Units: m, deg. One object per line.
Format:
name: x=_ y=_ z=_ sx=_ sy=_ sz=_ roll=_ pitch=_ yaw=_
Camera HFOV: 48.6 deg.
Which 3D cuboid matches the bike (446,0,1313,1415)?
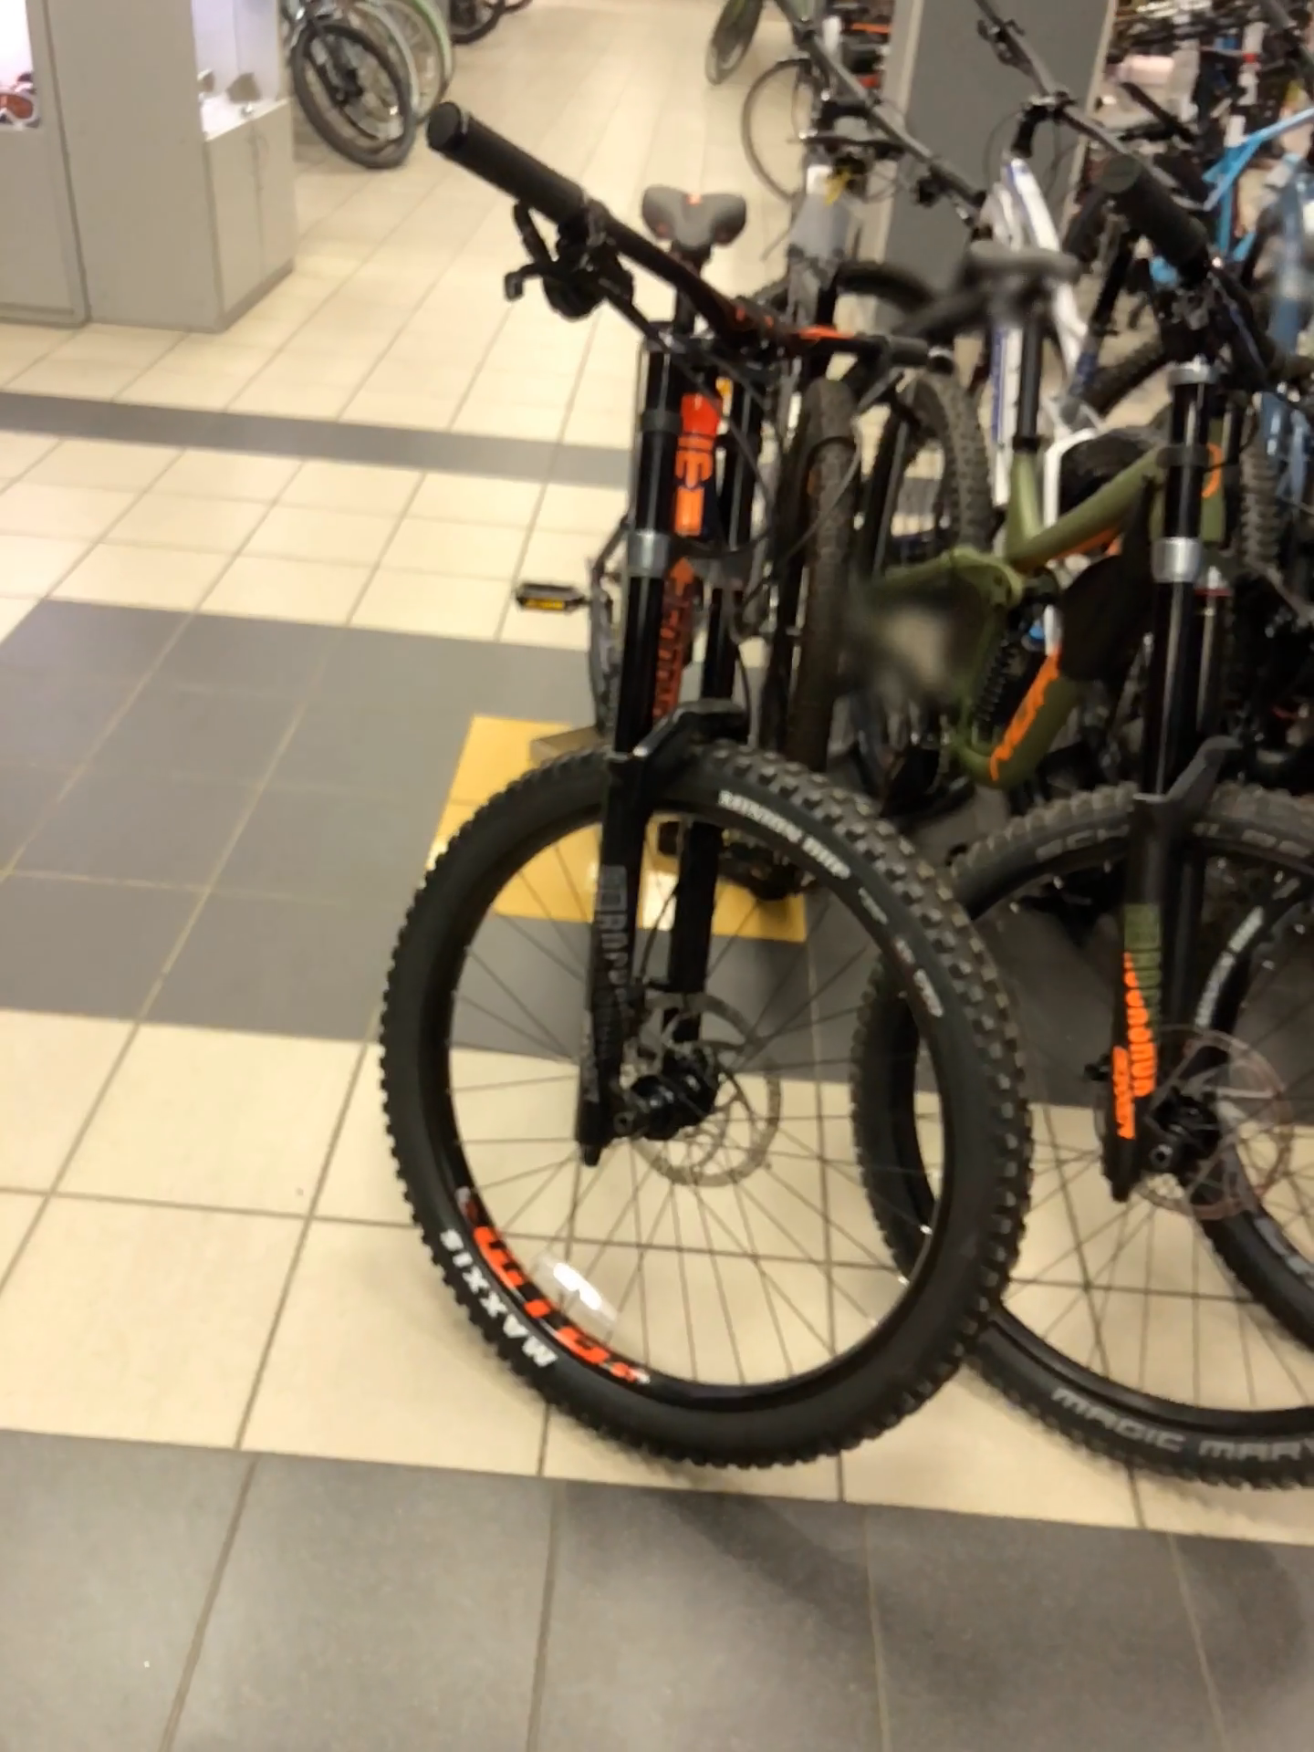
bike: x=0.202 y=-0.412 z=1.797 sx=0.800 sy=1.109 sz=1.706 roll=-1 pitch=32 yaw=-10
